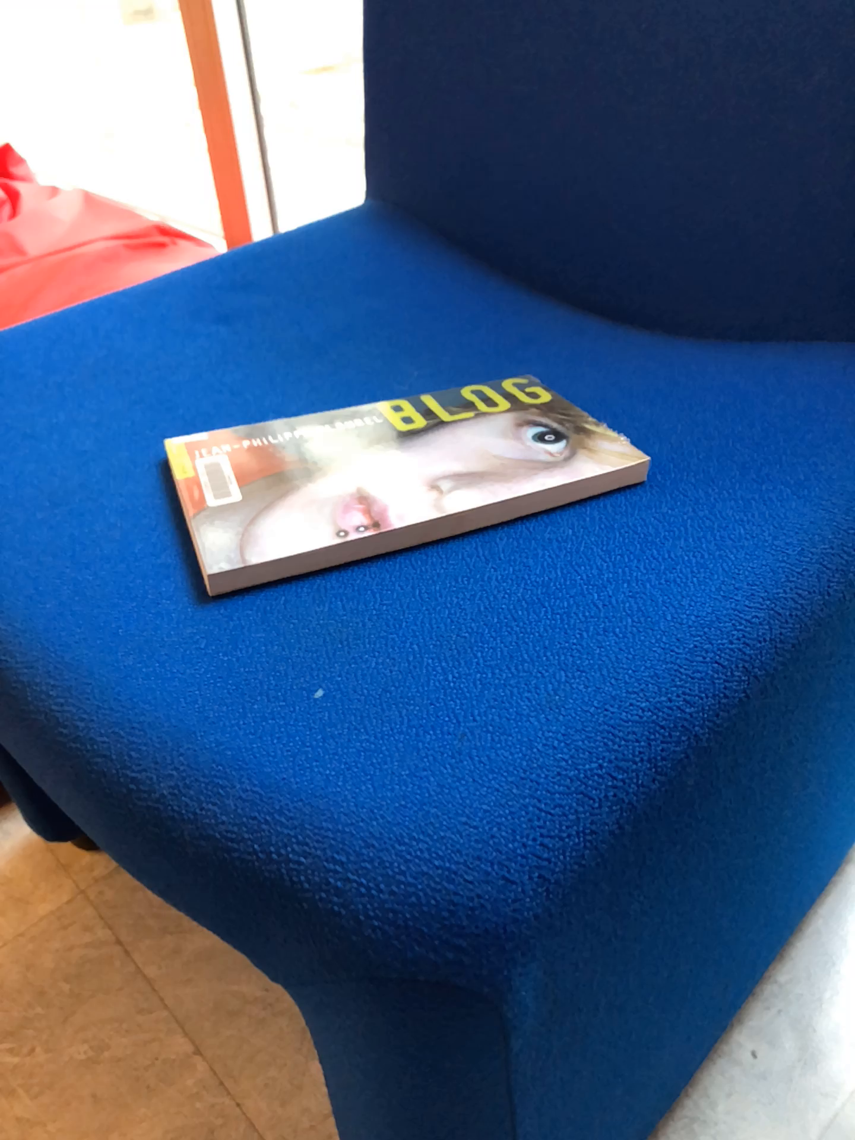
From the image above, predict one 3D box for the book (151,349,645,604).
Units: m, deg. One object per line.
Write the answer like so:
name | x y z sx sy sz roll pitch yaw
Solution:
book | -0.022 -0.059 0.489 0.220 0.018 0.143 -15 38 -14
